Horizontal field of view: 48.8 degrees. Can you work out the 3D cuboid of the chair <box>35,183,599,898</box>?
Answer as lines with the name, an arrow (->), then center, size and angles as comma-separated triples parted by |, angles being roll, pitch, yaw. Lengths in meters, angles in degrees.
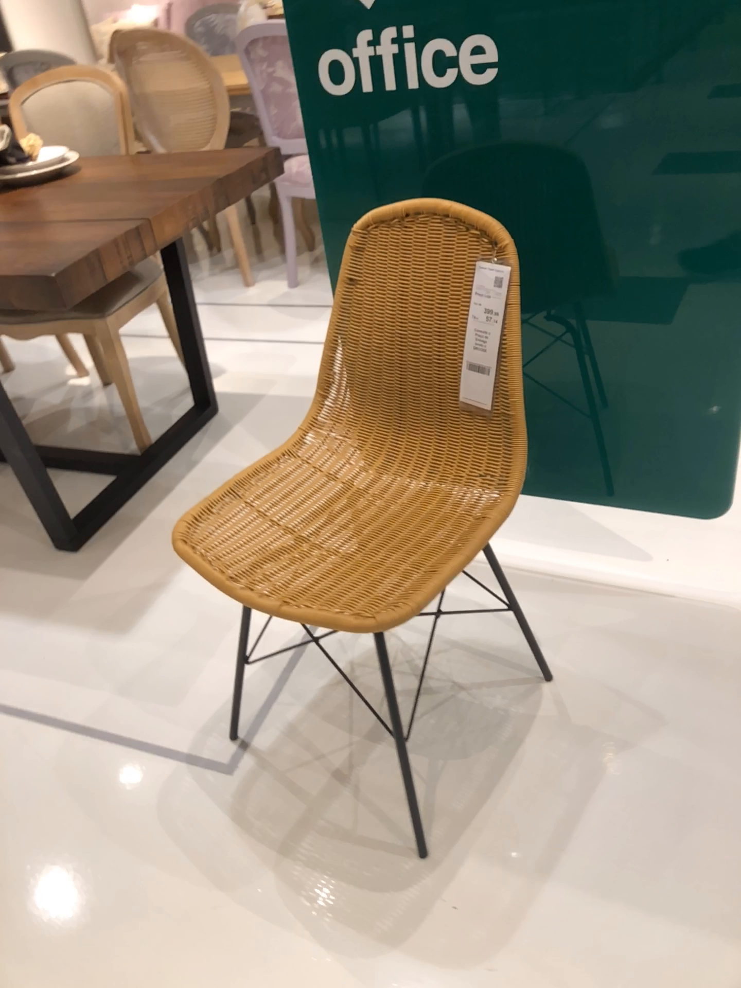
chair -> 0.002, 0.041, 1.301 | 0.492, 0.863, 0.573 | 18, 42, 35
